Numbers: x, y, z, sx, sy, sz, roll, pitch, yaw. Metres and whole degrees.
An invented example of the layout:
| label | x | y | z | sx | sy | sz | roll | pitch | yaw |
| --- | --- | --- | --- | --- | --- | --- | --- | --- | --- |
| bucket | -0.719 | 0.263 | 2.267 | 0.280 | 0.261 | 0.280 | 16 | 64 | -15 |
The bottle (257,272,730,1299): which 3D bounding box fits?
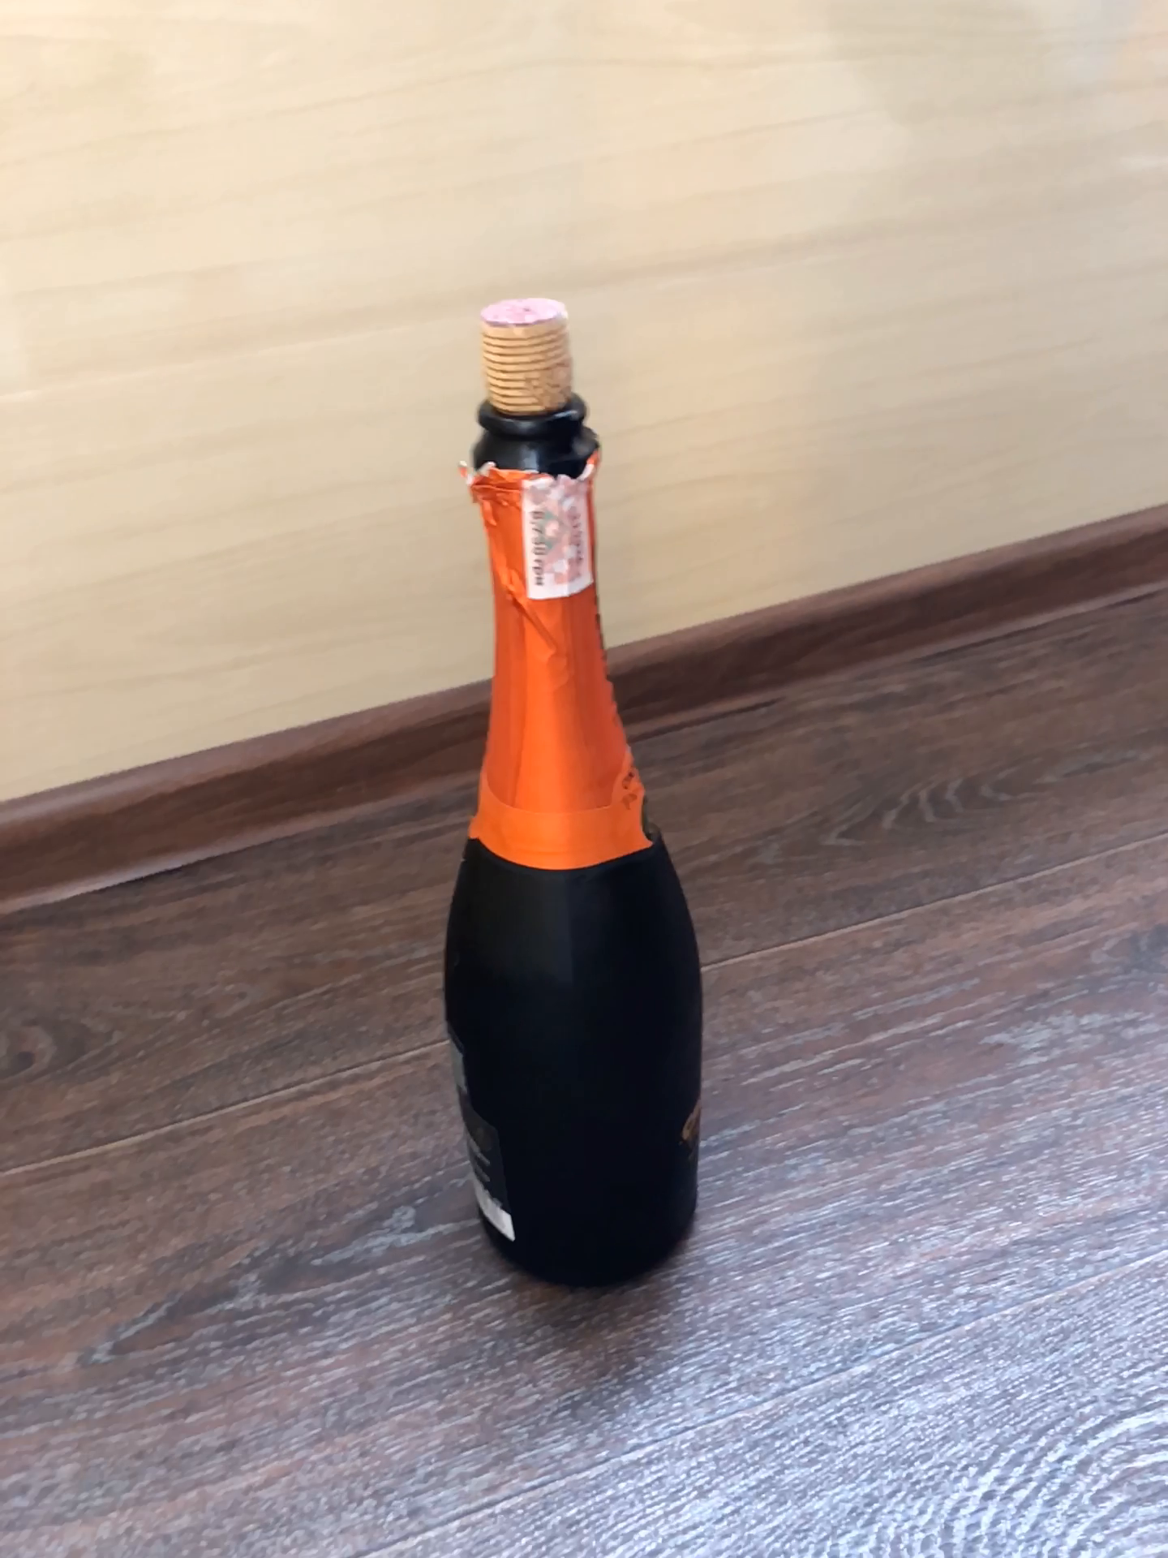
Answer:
| label | x | y | z | sx | sy | sz | roll | pitch | yaw |
| --- | --- | --- | --- | --- | --- | --- | --- | --- | --- |
| bottle | -0.008 | 0.024 | 0.410 | 0.100 | 0.328 | 0.093 | -4 | 34 | 2 |
